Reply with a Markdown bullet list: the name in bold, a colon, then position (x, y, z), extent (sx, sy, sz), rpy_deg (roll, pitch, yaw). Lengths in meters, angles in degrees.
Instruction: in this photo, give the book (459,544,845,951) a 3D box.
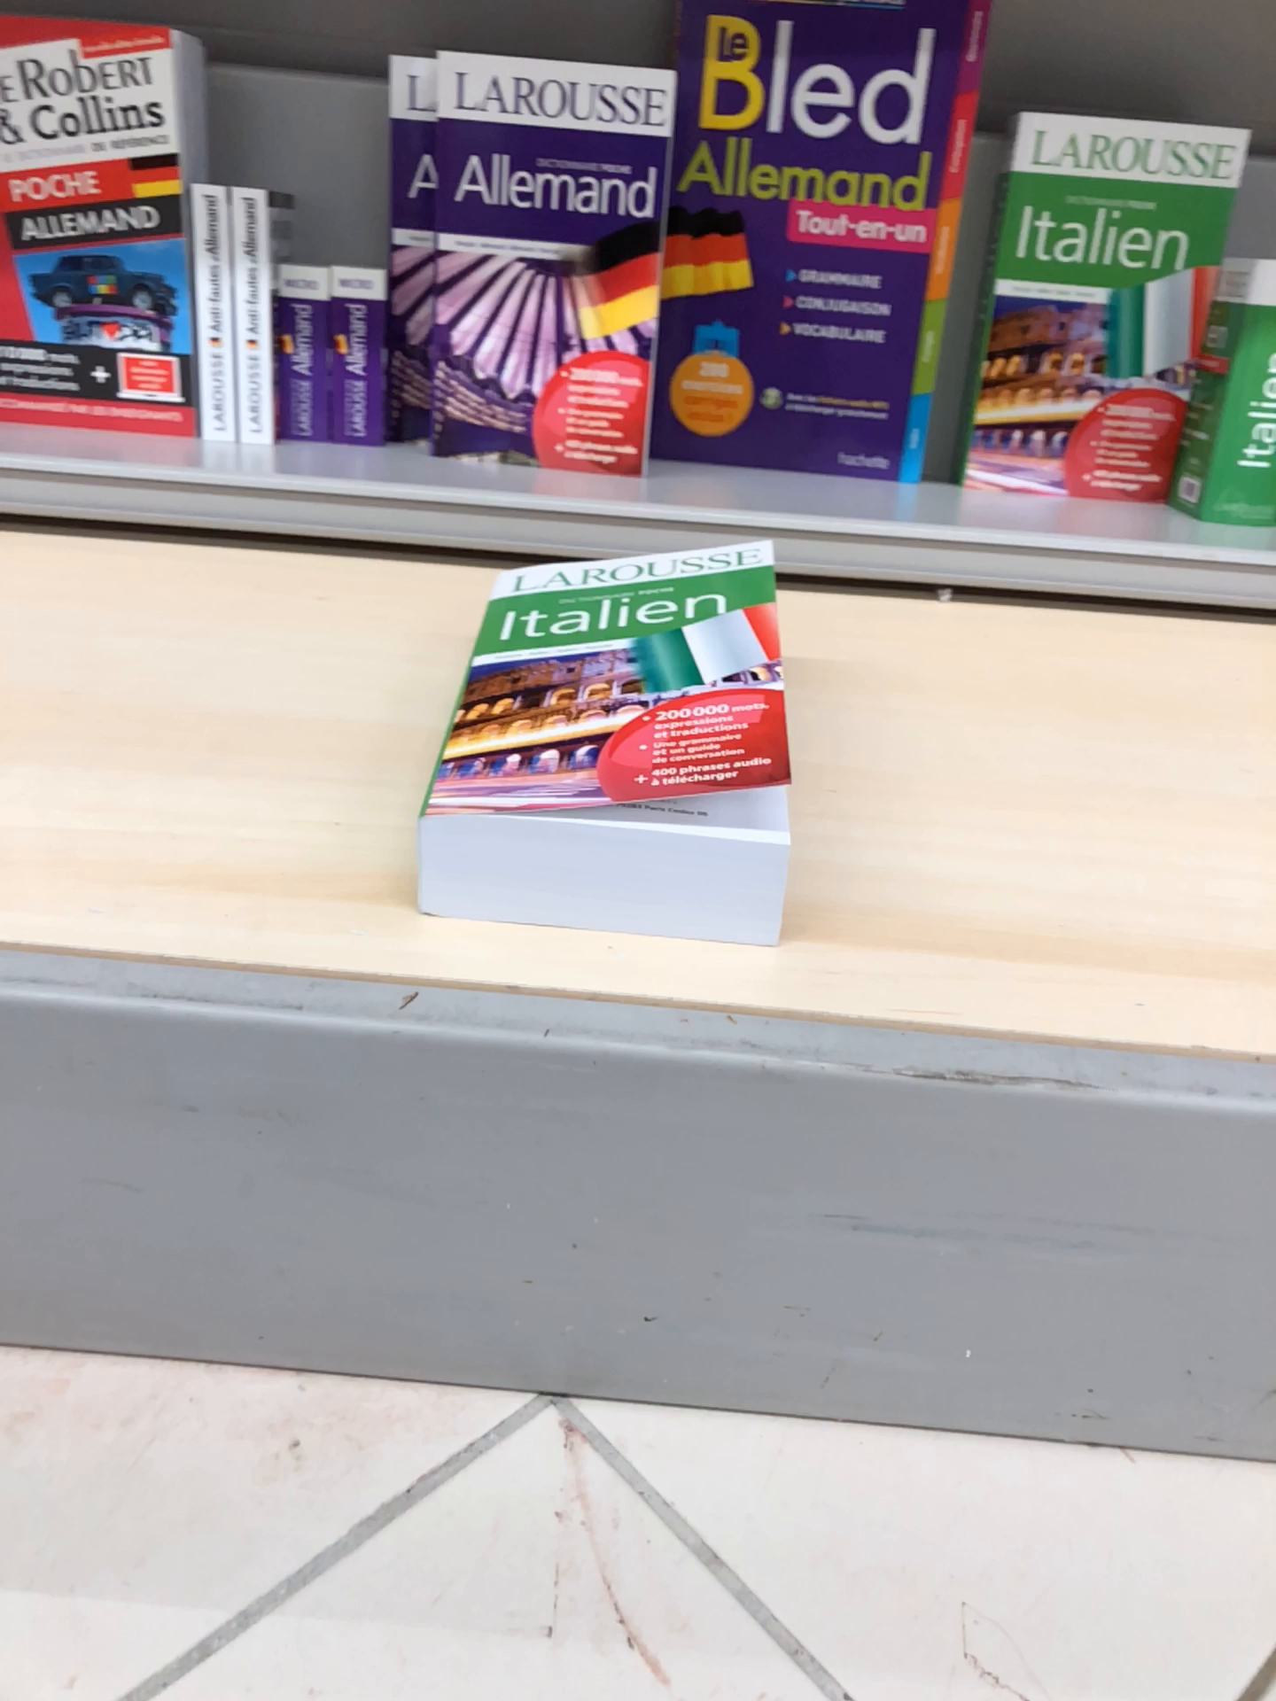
- **book**: position (0.007, -0.044, 0.476), extent (0.106, 0.045, 0.184), rpy_deg (5, 33, 0)
